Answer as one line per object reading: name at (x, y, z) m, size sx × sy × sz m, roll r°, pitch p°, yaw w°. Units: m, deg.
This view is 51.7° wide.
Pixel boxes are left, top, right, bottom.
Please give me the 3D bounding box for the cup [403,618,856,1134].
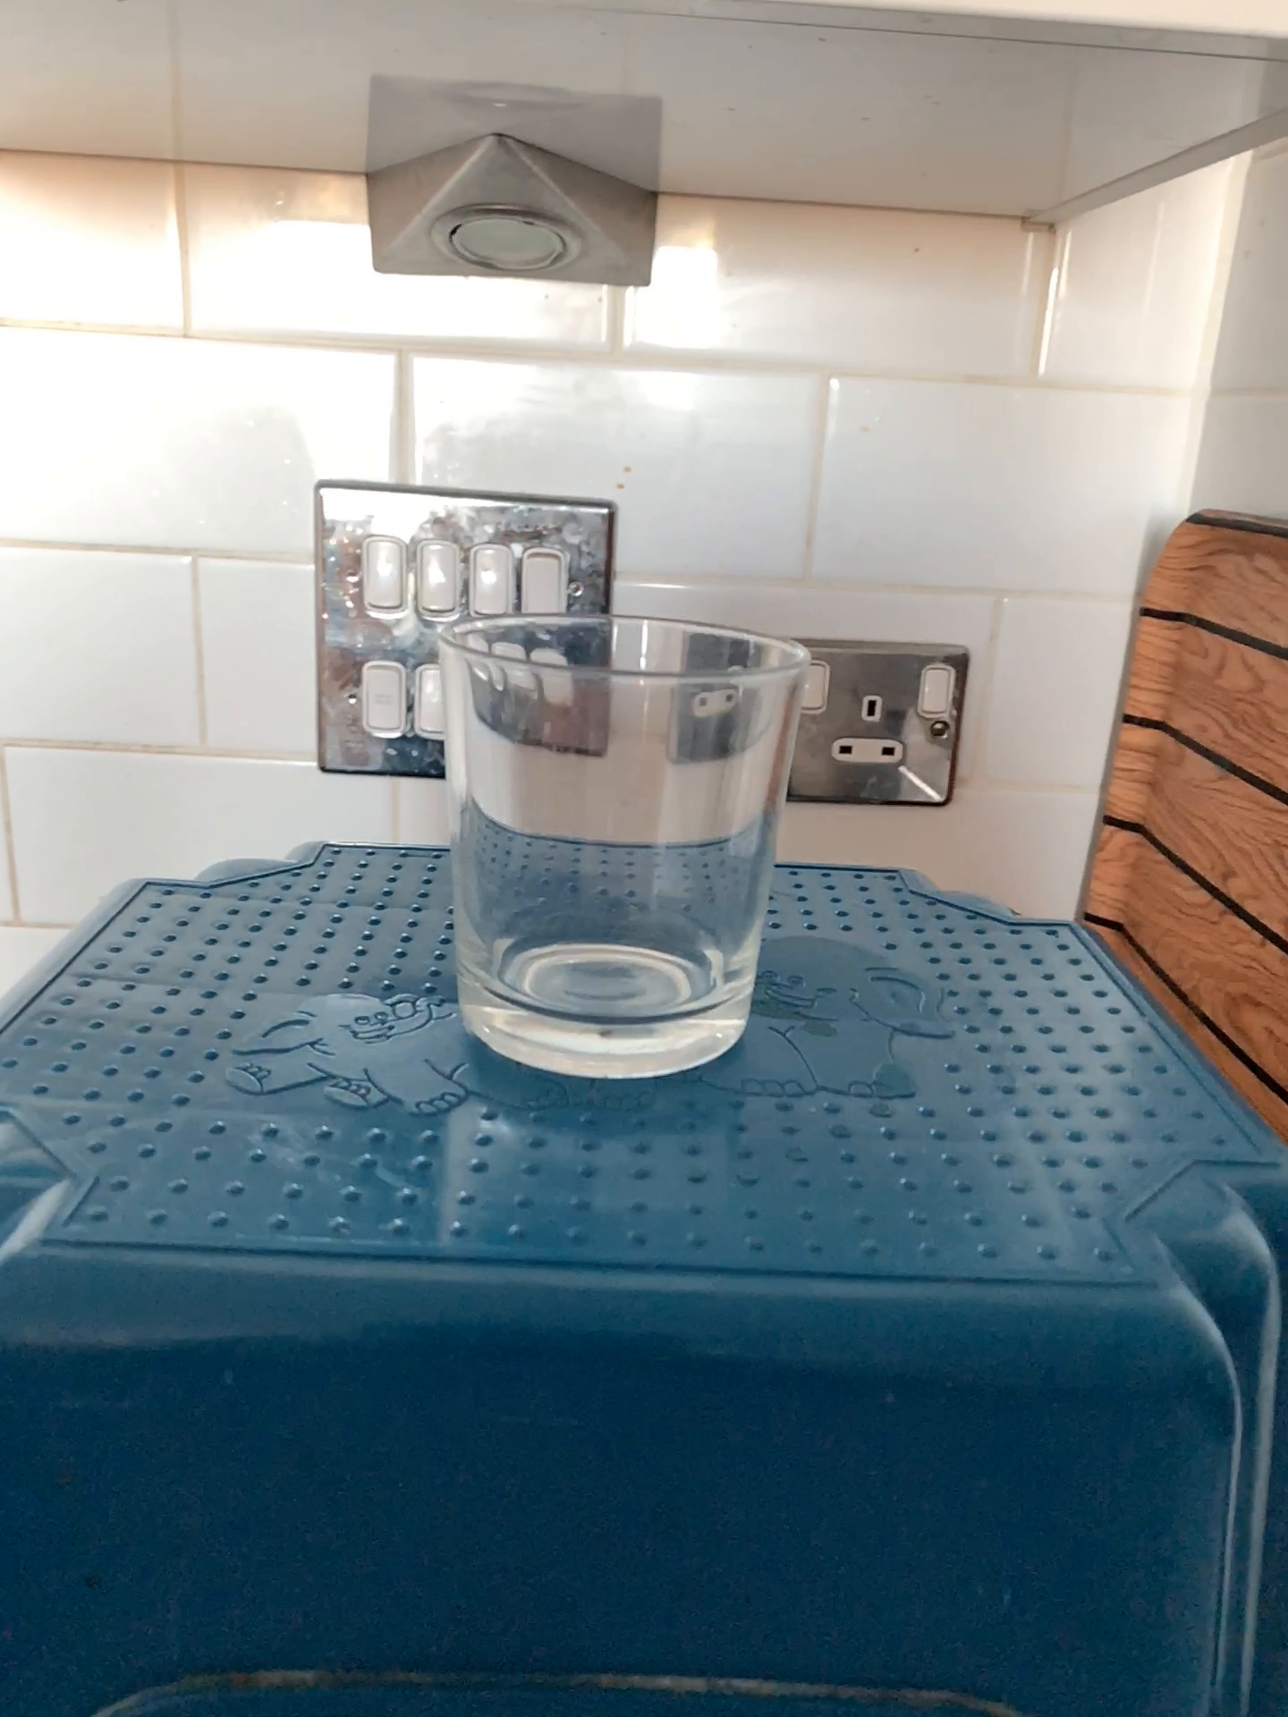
cup at (-0.002, -0.002, 0.290) m, size 0.076 × 0.085 × 0.067 m, roll 9°, pitch 19°, yaw 17°
